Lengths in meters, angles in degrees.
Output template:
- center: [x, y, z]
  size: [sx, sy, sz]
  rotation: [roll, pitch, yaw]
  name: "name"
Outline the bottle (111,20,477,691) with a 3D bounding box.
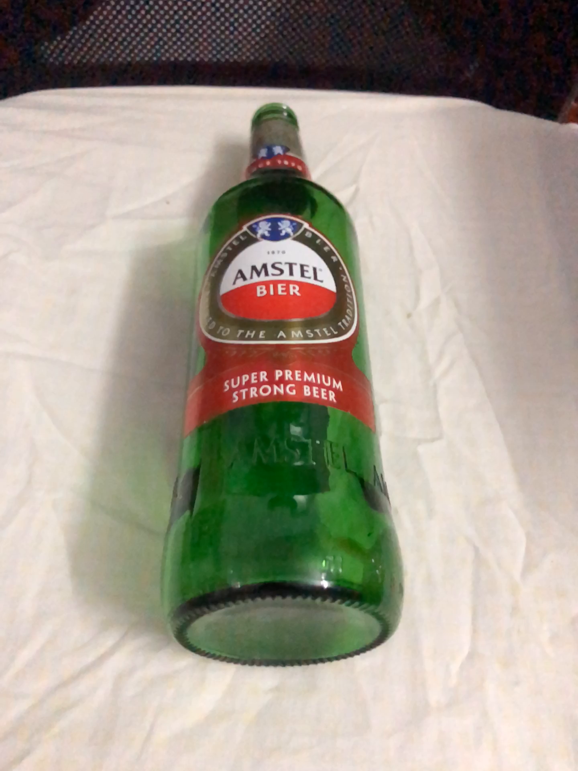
- center: [-0.003, -0.059, 0.308]
  size: [0.090, 0.080, 0.361]
  rotation: [2, 49, -3]
  name: "bottle"
